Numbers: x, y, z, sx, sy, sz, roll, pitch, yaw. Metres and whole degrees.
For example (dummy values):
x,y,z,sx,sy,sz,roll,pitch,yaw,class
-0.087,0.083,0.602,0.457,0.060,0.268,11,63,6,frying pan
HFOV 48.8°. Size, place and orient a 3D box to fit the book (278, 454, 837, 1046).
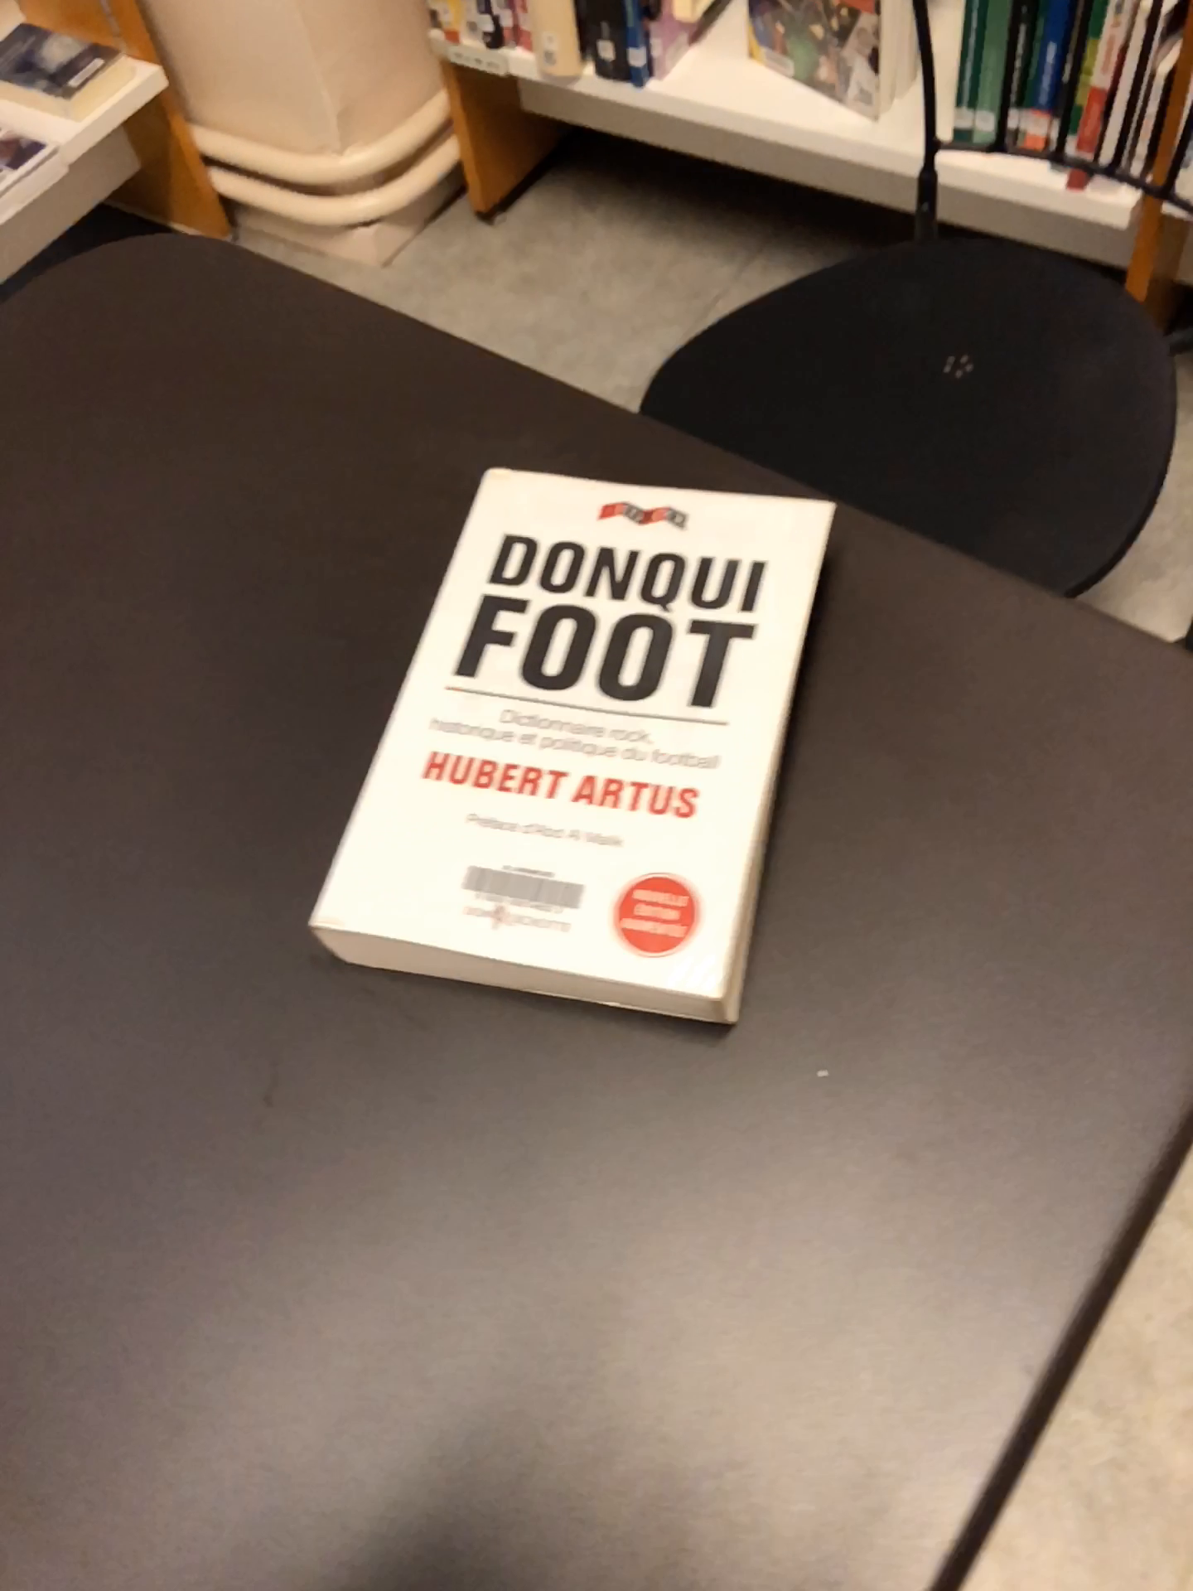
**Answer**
x,y,z,sx,sy,sz,roll,pitch,yaw,class
-0.004,-0.028,0.475,0.147,0.042,0.208,8,60,15,book
